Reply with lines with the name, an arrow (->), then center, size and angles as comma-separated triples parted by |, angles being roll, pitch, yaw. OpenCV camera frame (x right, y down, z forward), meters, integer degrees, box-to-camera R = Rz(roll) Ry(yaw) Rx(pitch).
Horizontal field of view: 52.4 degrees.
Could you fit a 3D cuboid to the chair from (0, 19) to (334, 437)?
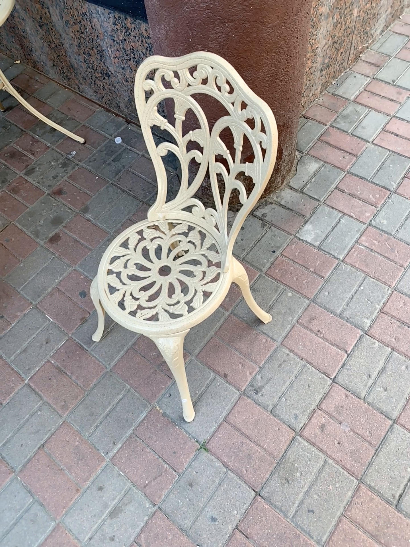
chair -> -0.095, -0.045, 1.070 | 0.481, 0.798, 0.550 | 34, 68, 24
